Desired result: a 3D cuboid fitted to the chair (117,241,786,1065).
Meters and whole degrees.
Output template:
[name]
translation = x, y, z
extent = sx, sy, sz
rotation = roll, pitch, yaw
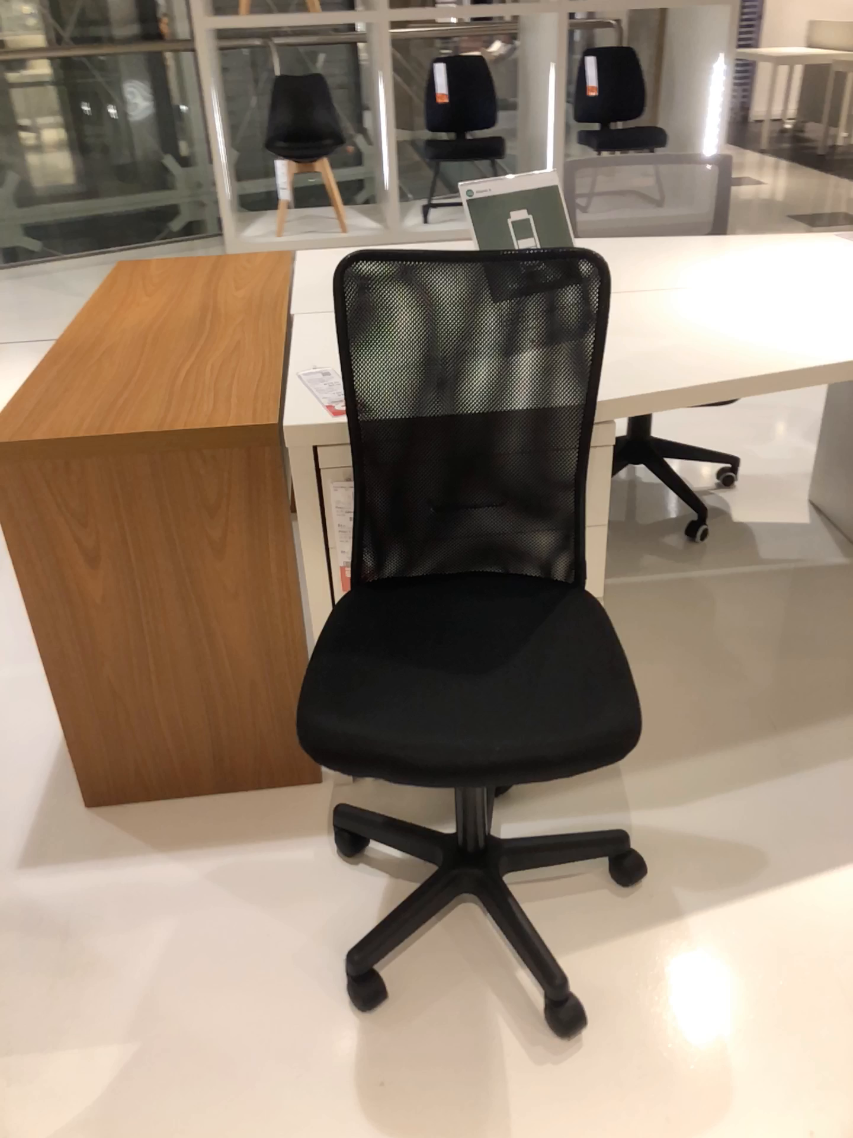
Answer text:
[chair]
translation = 0.048, 0.106, 1.259
extent = 0.560, 0.923, 0.575
rotation = 0, 30, 4
